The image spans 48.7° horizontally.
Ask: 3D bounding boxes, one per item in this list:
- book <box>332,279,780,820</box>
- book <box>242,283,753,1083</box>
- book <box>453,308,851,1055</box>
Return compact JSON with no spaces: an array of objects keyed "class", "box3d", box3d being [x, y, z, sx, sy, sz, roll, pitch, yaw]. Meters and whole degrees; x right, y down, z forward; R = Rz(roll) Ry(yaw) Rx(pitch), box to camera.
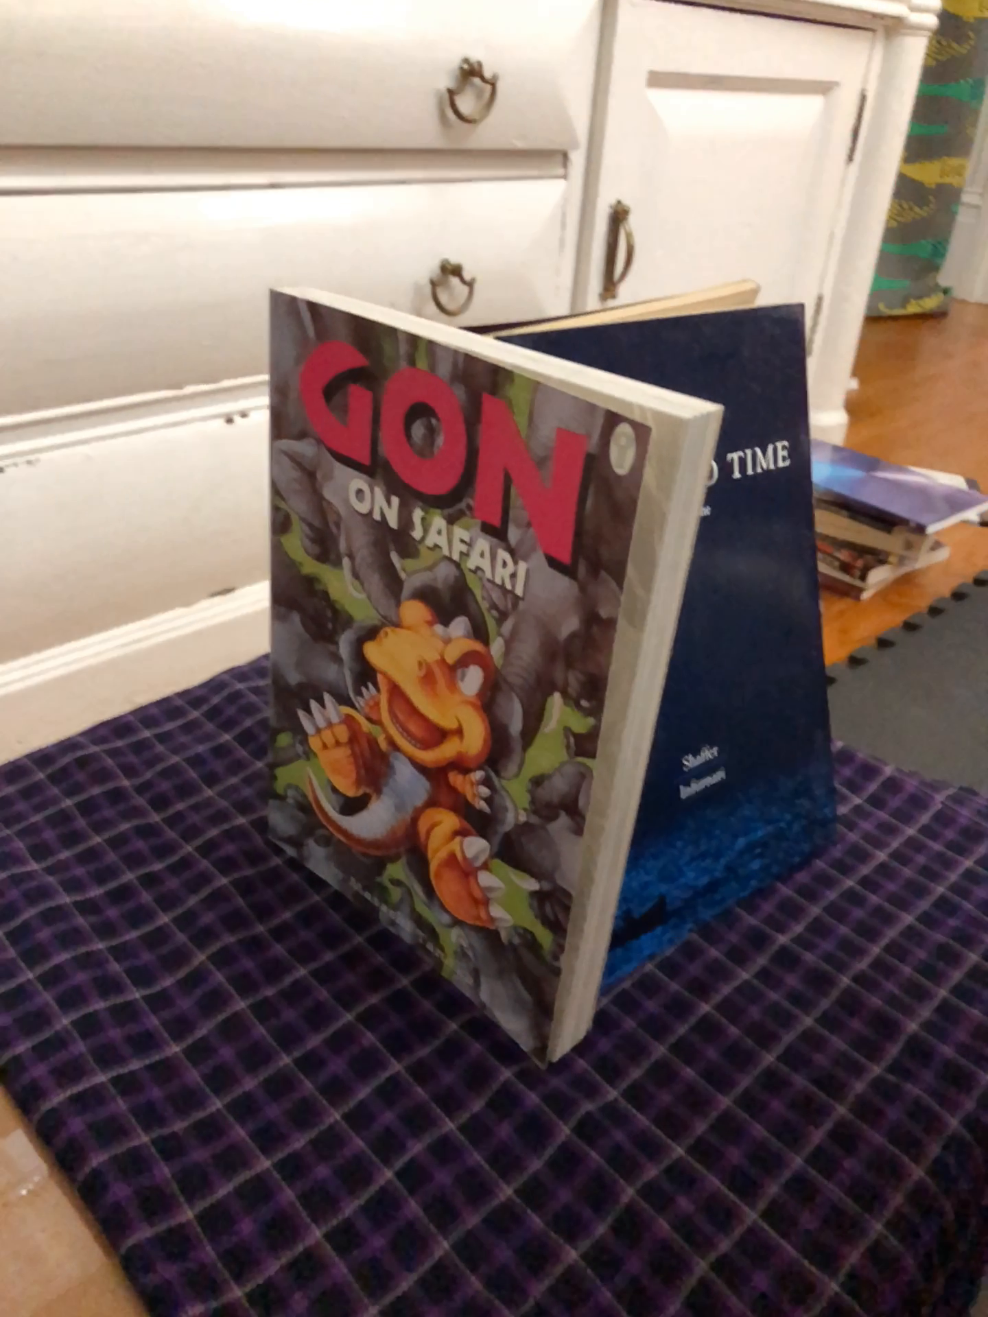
[{"class":"book","box3d":[0.018,-0.035,0.394,0.141,0.199,0.010,-26,60,-41]},{"class":"book","box3d":[-0.015,0.004,0.312,0.140,0.189,0.020,26,29,33]},{"class":"book","box3d":[0.063,-0.002,0.347,0.150,0.199,0.010,-21,18,-40]}]
